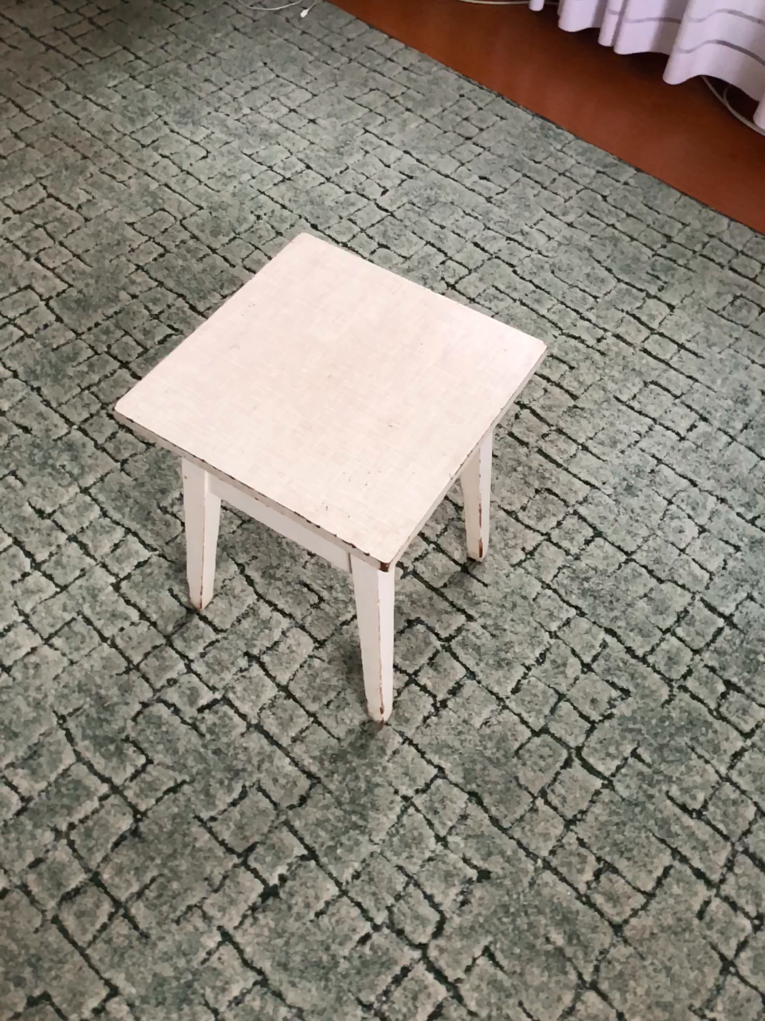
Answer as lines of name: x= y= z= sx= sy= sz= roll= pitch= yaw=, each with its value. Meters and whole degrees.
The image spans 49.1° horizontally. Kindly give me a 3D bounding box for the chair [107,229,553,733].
chair: x=-0.052 y=-0.018 z=1.056 sx=0.332 sy=0.447 sz=0.336 roll=29 pitch=61 yaw=15
